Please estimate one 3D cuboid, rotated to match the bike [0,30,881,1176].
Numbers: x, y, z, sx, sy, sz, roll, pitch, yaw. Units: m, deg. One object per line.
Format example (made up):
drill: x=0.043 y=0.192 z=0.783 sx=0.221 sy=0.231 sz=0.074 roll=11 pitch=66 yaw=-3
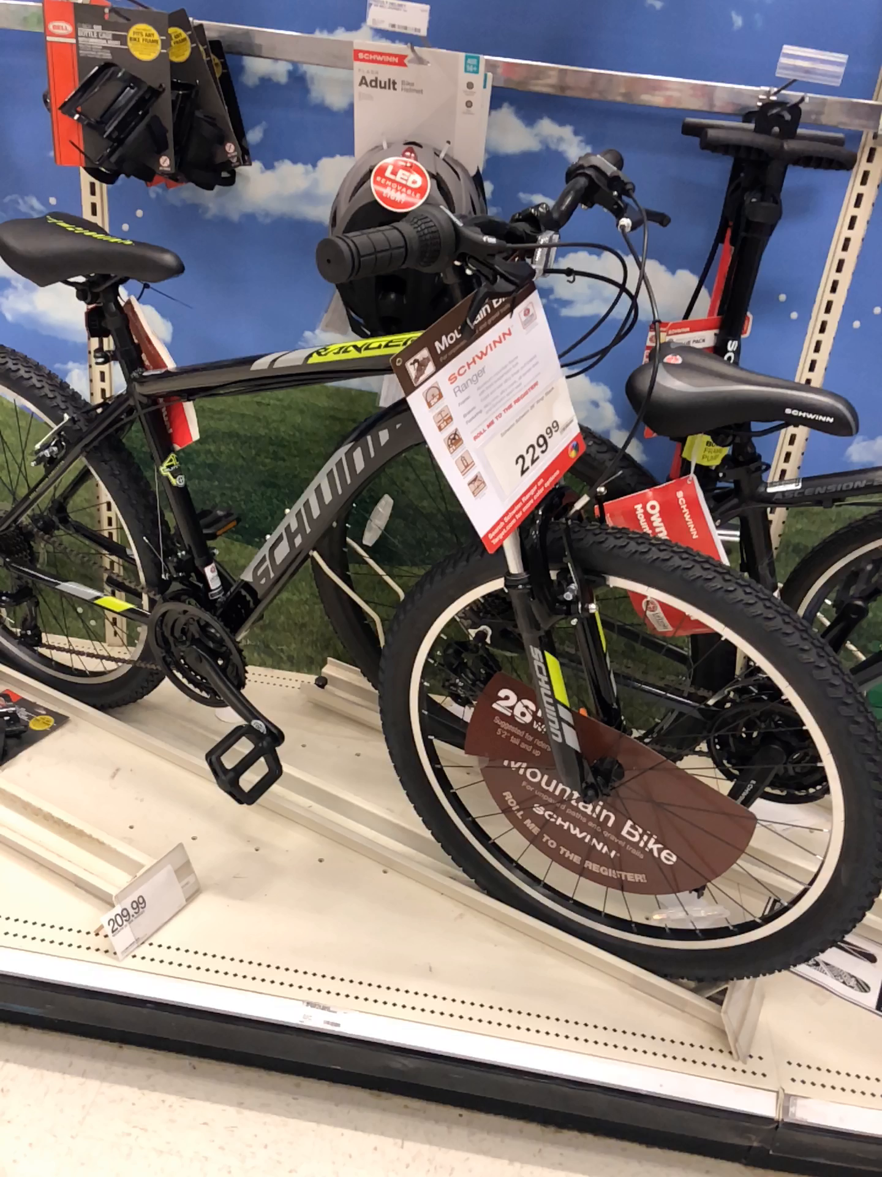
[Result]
bike: x=-0.266 y=-0.002 z=1.233 sx=1.653 sy=1.002 sz=0.601 roll=21 pitch=29 yaw=23
